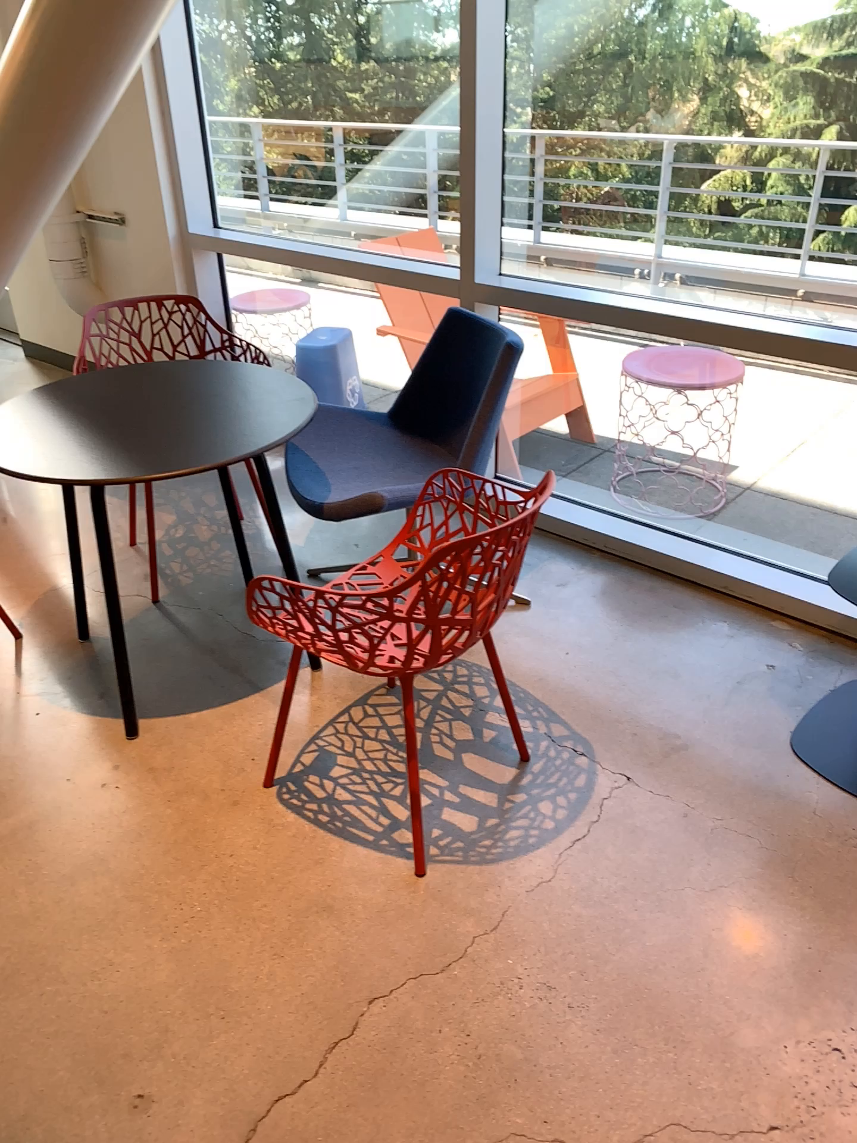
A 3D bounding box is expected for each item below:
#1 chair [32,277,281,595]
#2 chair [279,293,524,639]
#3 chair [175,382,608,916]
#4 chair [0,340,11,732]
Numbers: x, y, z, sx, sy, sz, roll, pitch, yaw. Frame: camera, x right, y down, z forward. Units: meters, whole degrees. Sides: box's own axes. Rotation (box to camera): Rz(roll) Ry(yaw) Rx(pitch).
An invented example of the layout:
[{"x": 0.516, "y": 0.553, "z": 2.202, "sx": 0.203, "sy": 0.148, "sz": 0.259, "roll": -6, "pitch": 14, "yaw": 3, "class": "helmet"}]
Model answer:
[{"x": -0.829, "y": -0.440, "z": 2.712, "sx": 0.560, "sy": 0.765, "sz": 0.533, "roll": -11, "pitch": 32, "yaw": -17, "class": "chair"}, {"x": -0.087, "y": -0.324, "z": 2.514, "sx": 0.510, "sy": 0.765, "sz": 0.564, "roll": -11, "pitch": 31, "yaw": -16, "class": "chair"}, {"x": -0.054, "y": 0.112, "z": 1.774, "sx": 0.562, "sy": 0.765, "sz": 0.551, "roll": 22, "pitch": 38, "yaw": 35, "class": "chair"}, {"x": -1.579, "y": -0.116, "z": 2.231, "sx": 0.531, "sy": 0.765, "sz": 0.562, "roll": 8, "pitch": 32, "yaw": 16, "class": "chair"}]
